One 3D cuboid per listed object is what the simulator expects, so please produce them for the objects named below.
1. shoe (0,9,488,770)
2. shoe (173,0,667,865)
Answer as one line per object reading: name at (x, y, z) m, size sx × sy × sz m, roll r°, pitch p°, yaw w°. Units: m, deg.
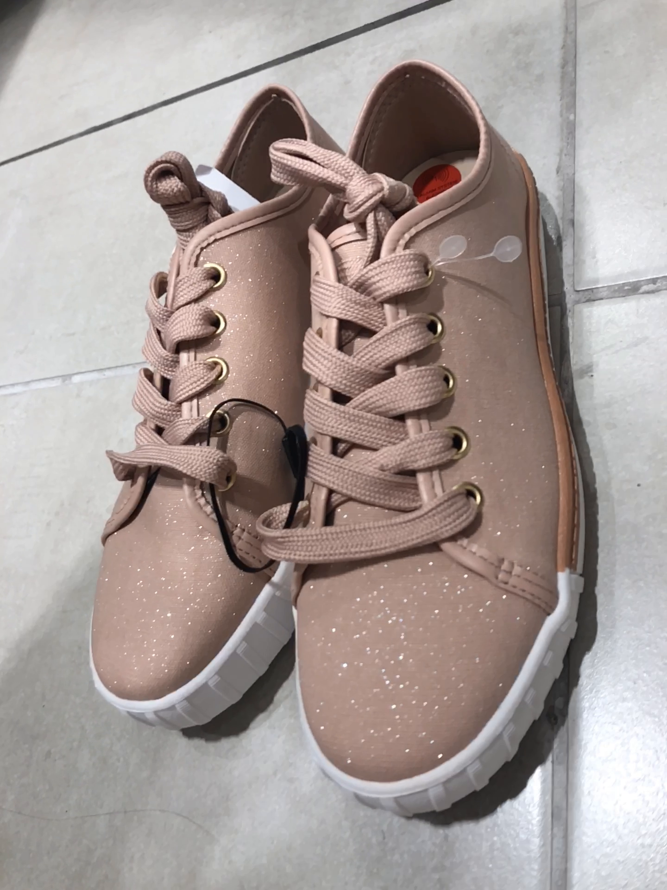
shoe at (-0.019, -0.023, 0.275) m, size 0.090 × 0.099 × 0.240 m, roll 1°, pitch 65°, yaw 30°
shoe at (0.045, -0.019, 0.222) m, size 0.090 × 0.099 × 0.241 m, roll -6°, pitch 61°, yaw 28°
